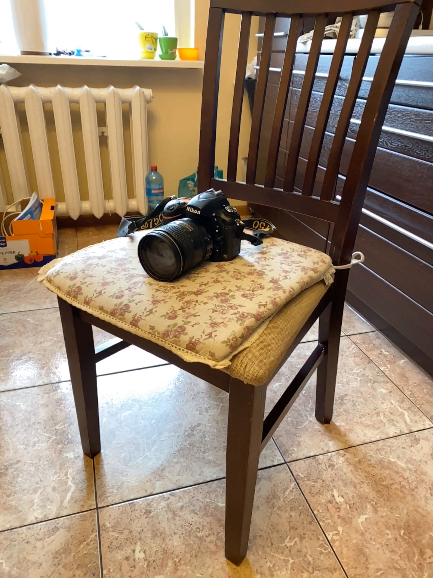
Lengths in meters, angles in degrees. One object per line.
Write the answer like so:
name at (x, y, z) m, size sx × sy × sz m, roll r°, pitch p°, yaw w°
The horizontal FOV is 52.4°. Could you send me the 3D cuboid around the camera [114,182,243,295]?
camera at (-0.059, -0.093, 0.731) m, size 0.135 × 0.120 × 0.164 m, roll 18°, pitch 30°, yaw 29°
